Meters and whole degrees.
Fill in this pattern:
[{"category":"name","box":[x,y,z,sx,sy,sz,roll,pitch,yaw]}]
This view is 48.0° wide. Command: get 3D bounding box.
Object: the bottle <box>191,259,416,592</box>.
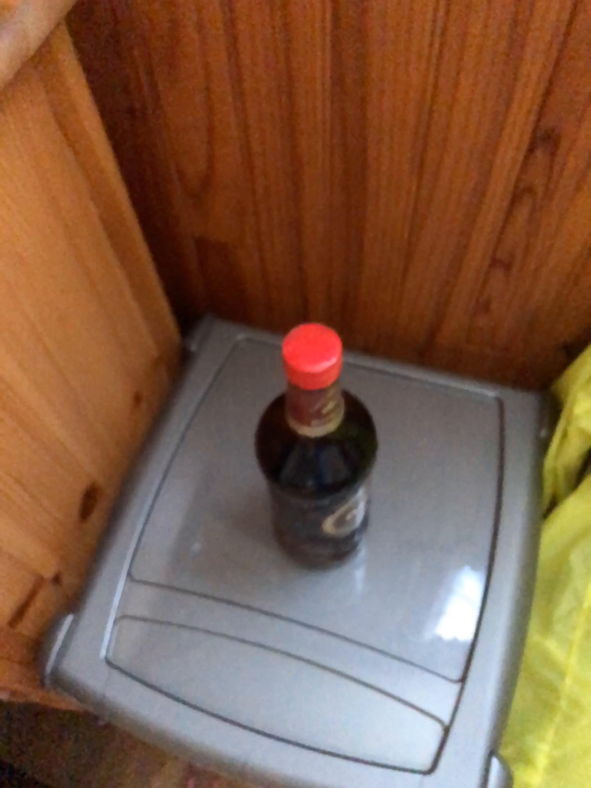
[{"category":"bottle","box":[0.012,0.048,0.479,0.090,0.299,0.090,-1,60,2]}]
